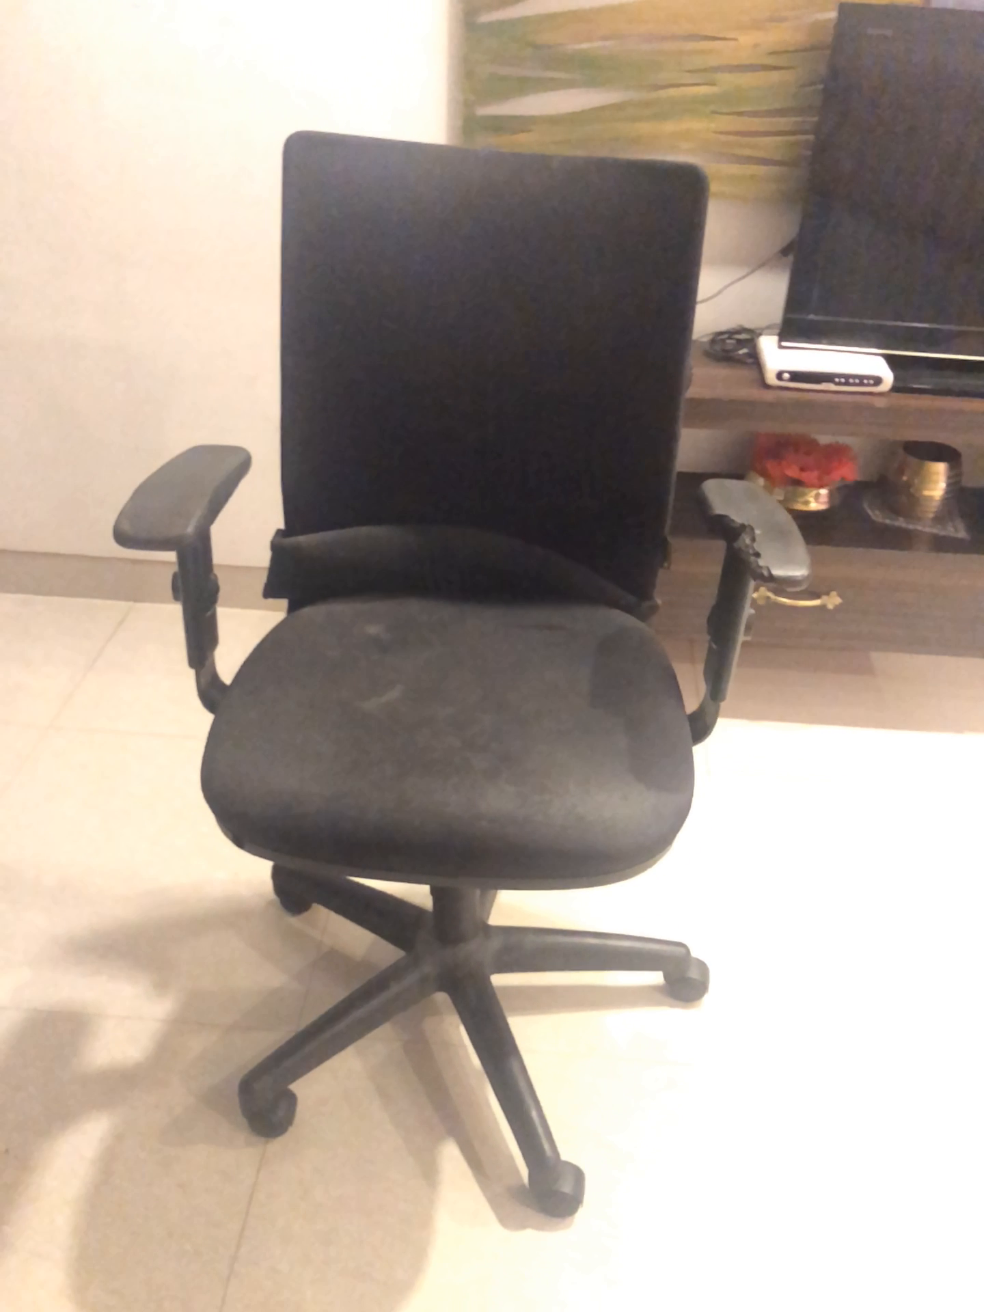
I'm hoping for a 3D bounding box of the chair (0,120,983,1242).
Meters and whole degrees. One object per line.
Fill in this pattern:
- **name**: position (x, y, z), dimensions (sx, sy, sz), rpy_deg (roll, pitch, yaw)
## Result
- **chair**: position (-0.027, 0.022, 1.241), dimensions (0.710, 1.042, 0.705), rpy_deg (2, 33, 1)
